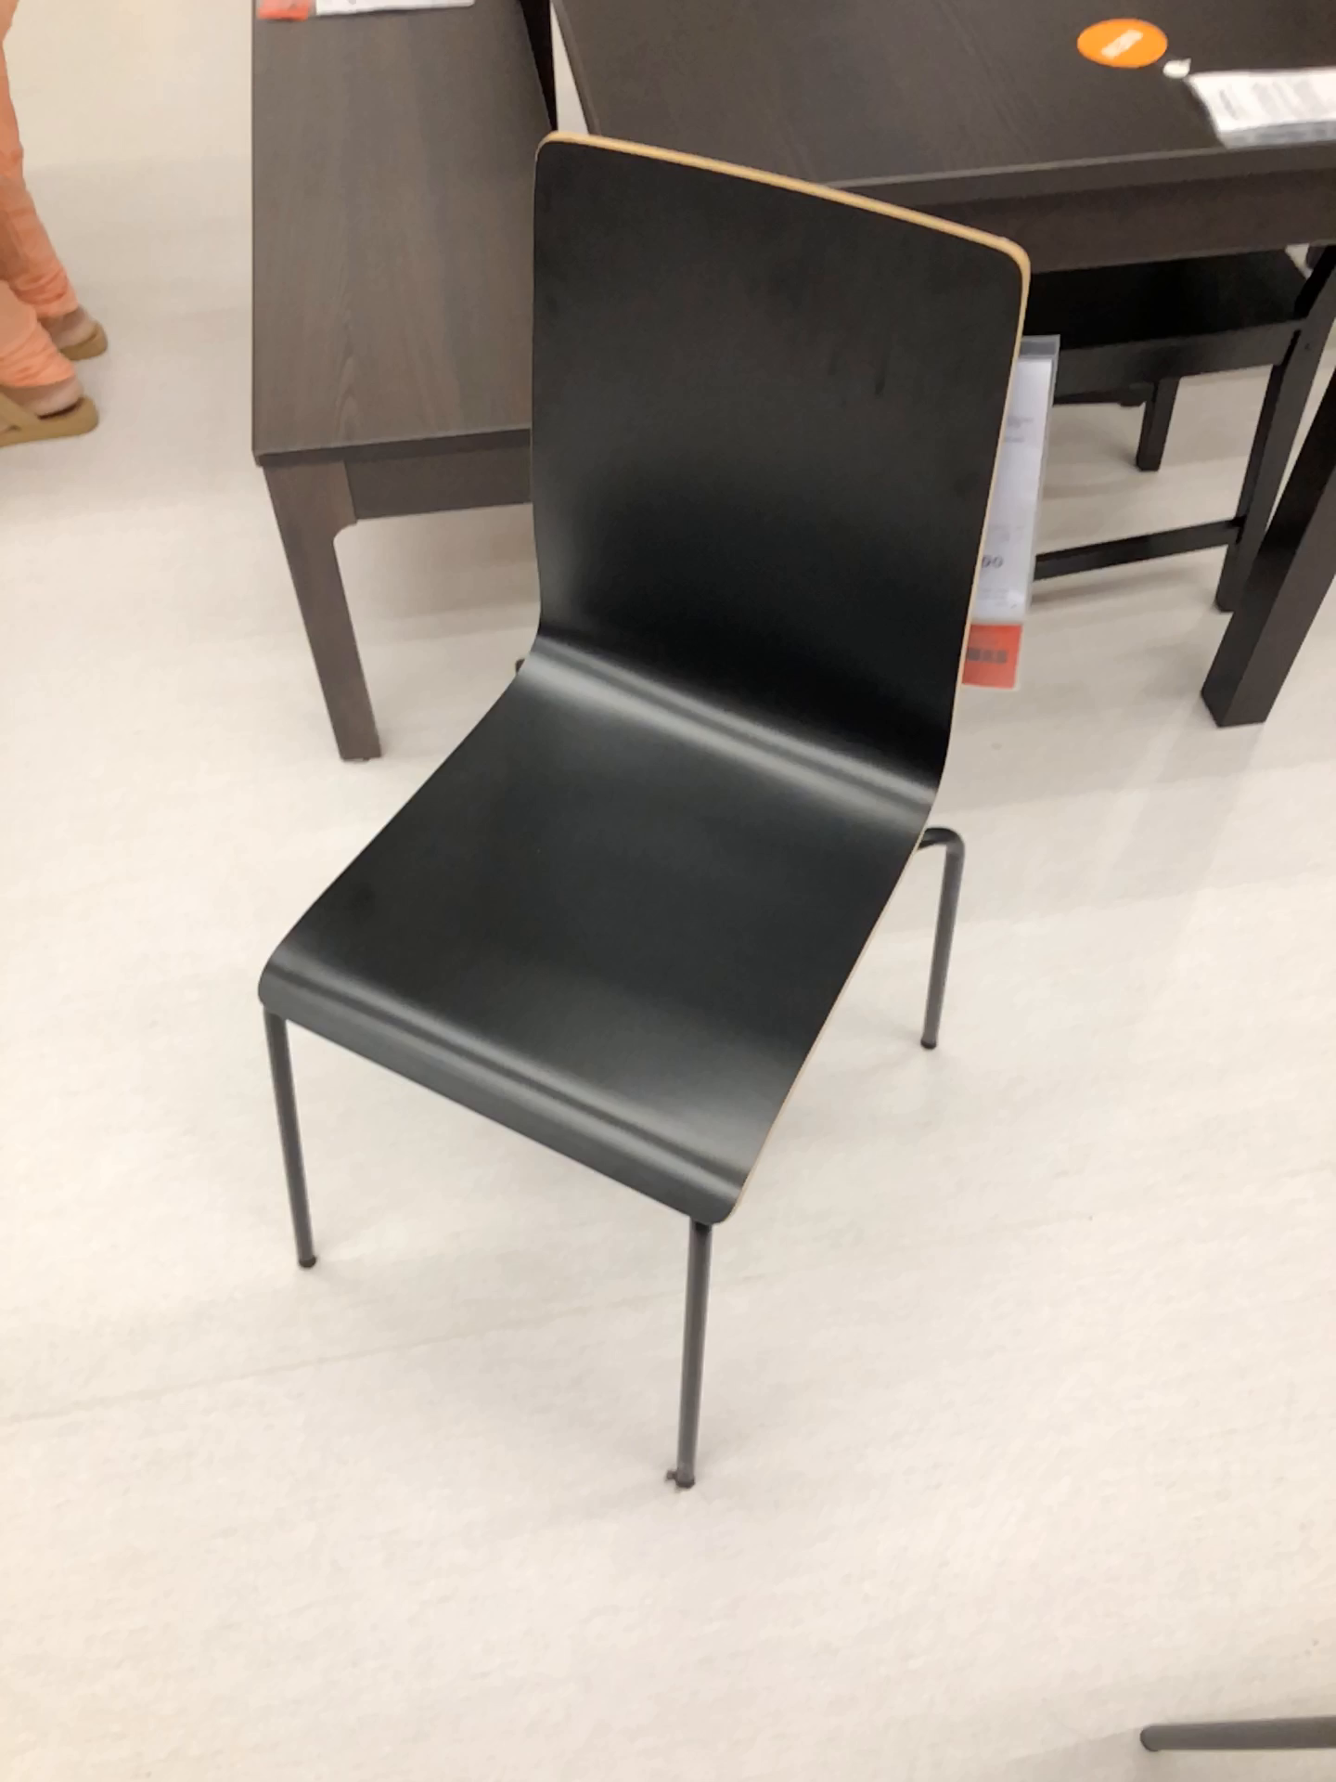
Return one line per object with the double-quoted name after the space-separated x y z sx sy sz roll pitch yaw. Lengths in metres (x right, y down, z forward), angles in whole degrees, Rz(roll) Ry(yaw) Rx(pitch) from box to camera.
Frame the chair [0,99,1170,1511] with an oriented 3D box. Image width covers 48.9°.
-0.038 -0.008 1.087 0.451 0.805 0.532 24 57 17 "chair"
